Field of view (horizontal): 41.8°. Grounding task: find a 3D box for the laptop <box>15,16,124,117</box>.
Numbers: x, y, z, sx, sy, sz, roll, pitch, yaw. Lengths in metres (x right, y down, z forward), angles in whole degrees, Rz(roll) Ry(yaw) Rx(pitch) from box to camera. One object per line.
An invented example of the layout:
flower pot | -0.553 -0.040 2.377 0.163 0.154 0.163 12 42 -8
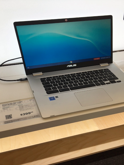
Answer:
laptop | 0.072 -0.083 0.594 0.383 0.198 0.317 -11 46 -14
